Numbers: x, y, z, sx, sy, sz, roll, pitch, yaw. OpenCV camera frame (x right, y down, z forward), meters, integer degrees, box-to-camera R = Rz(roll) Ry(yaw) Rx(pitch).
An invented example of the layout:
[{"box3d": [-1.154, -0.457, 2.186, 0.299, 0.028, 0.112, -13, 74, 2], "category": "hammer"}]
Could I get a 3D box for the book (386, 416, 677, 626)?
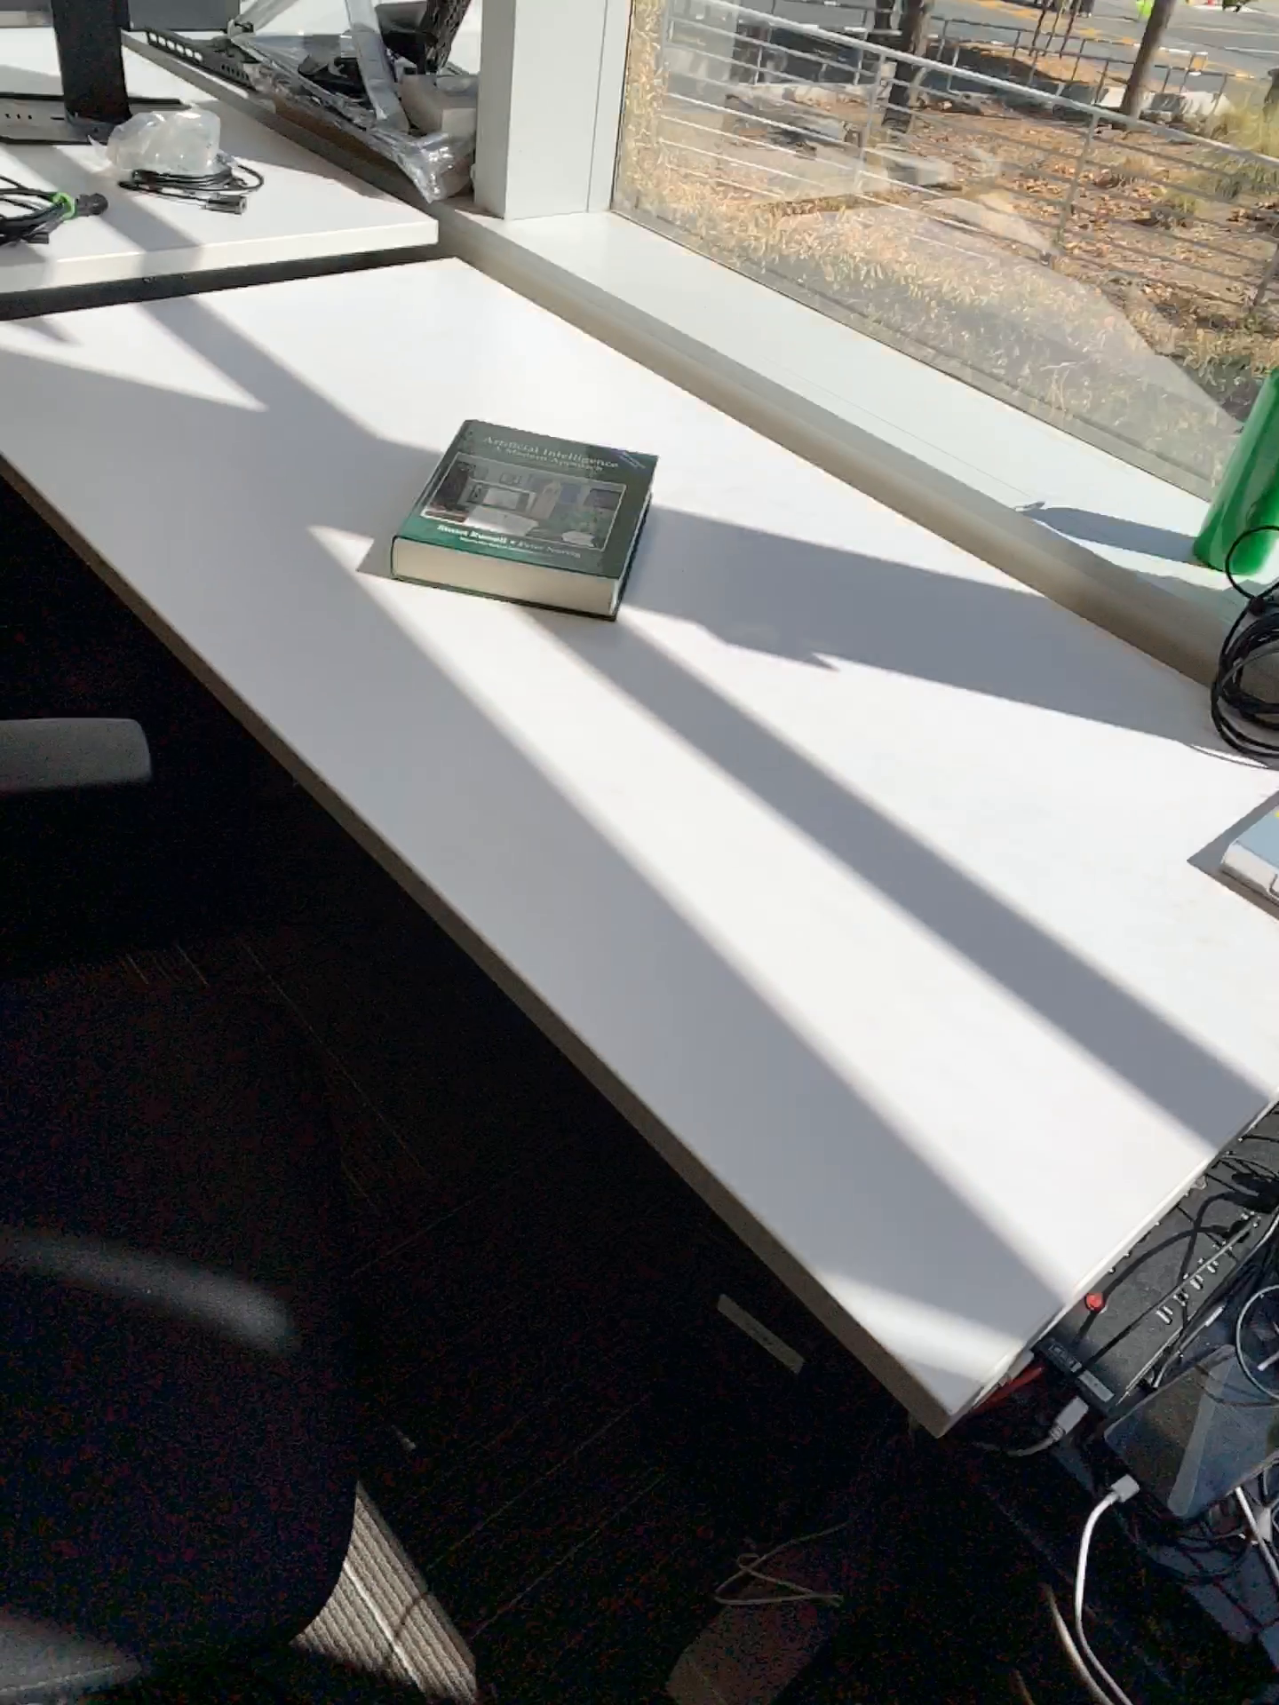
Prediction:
[{"box3d": [-0.097, -0.331, 1.273, 0.230, 0.050, 0.262, 11, 41, 2], "category": "book"}]
